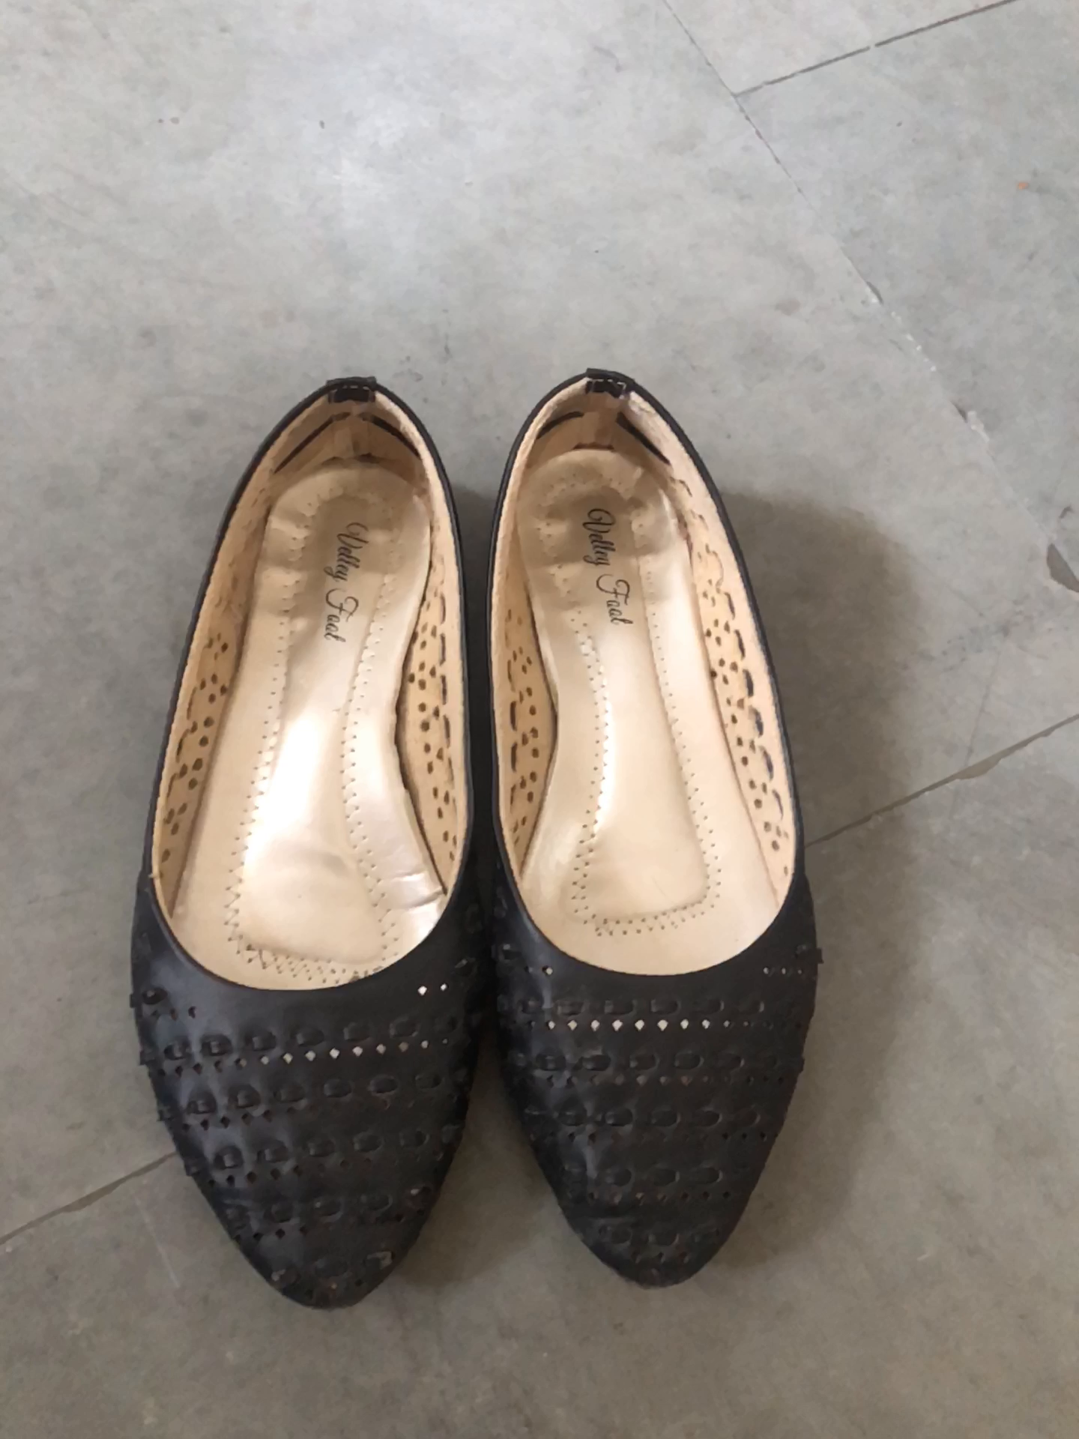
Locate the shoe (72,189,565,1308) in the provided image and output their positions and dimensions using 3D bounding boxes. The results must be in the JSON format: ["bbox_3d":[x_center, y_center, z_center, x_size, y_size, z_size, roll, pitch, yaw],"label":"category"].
[{"bbox_3d":[-0.051,-0.002,0.317,0.100,0.070,0.270,-1,74,-4],"label":"shoe"}]

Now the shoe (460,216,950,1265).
[{"bbox_3d":[0.030,-0.005,0.336,0.100,0.070,0.280,-1,69,-4],"label":"shoe"}]
